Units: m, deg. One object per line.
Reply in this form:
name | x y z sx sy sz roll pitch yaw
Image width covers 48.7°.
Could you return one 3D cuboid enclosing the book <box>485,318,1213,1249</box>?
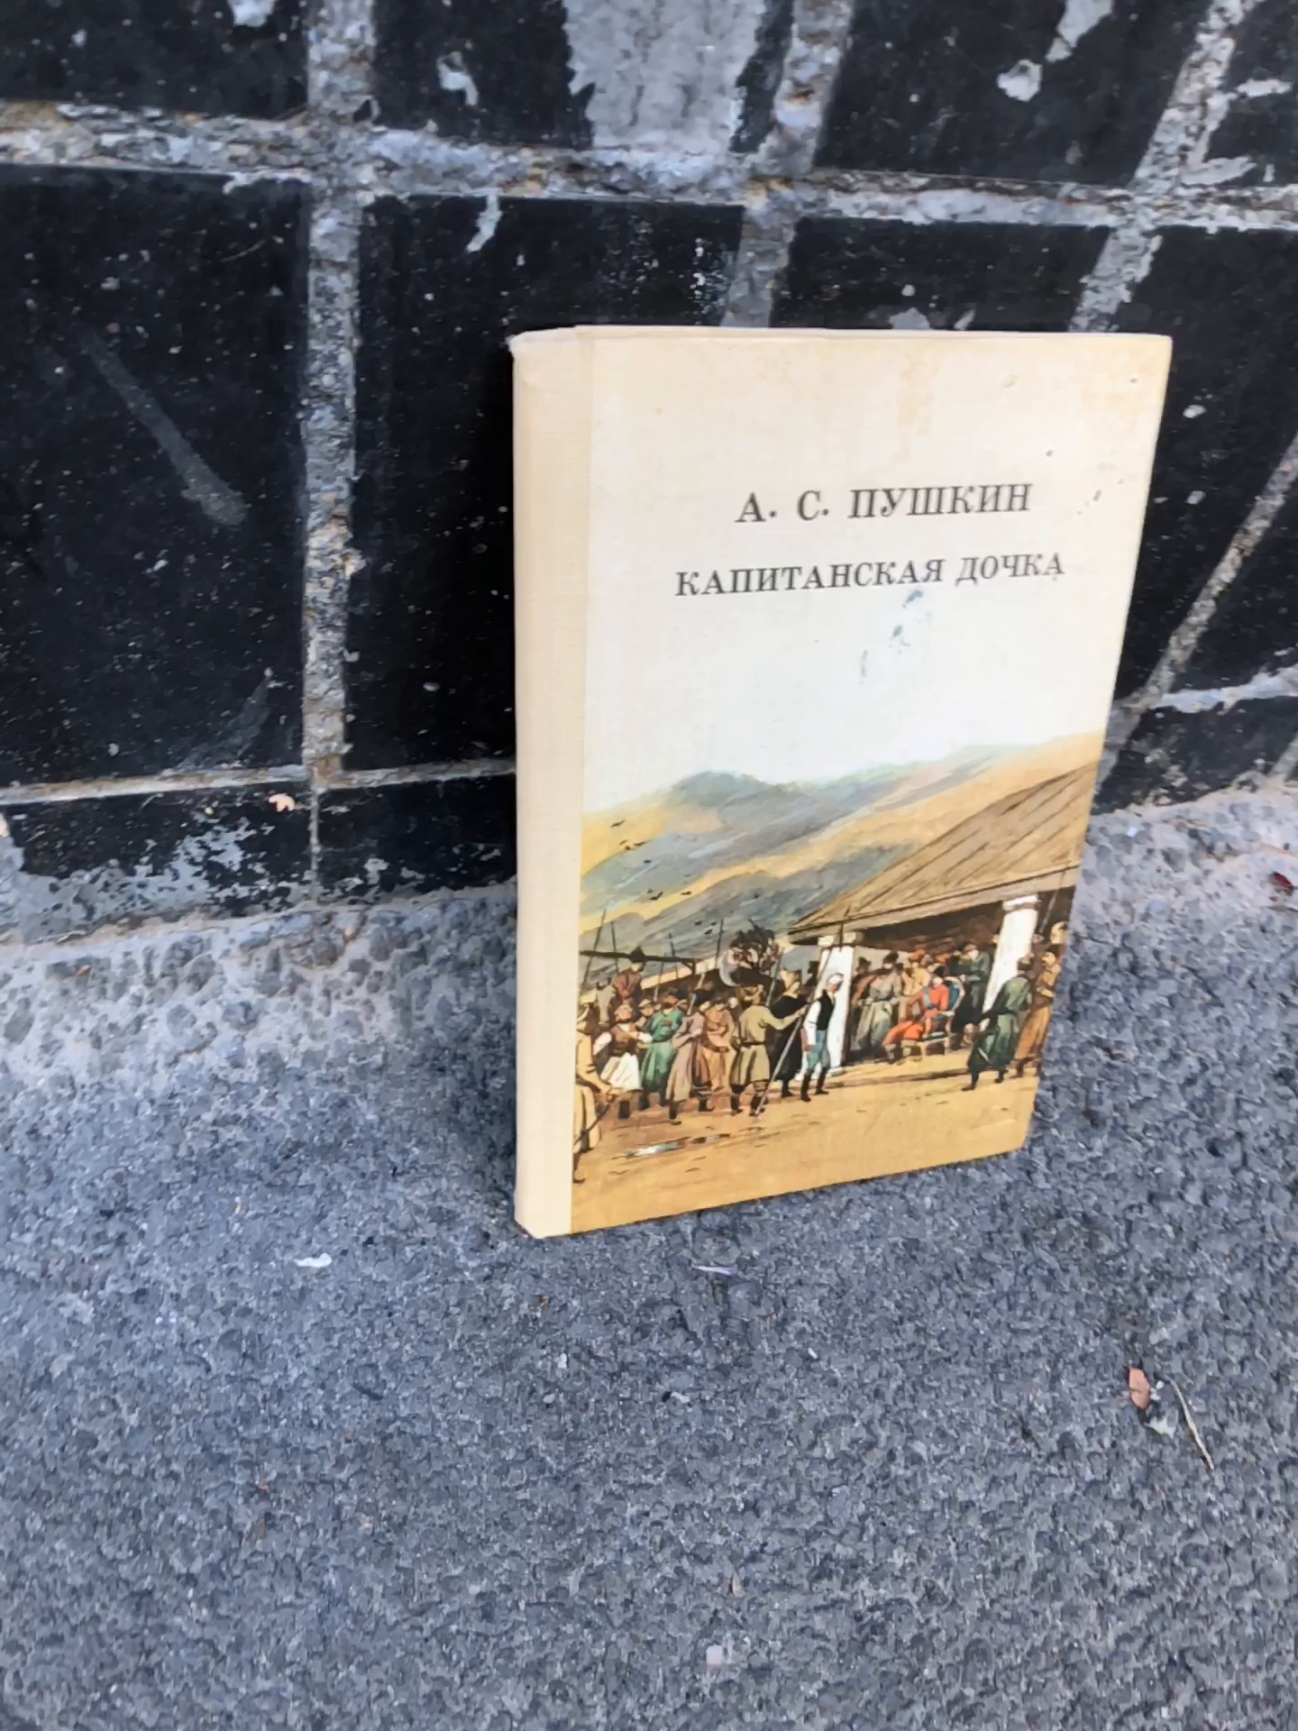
book | 0.038 -0.012 0.337 0.150 0.214 0.020 -6 29 -19
